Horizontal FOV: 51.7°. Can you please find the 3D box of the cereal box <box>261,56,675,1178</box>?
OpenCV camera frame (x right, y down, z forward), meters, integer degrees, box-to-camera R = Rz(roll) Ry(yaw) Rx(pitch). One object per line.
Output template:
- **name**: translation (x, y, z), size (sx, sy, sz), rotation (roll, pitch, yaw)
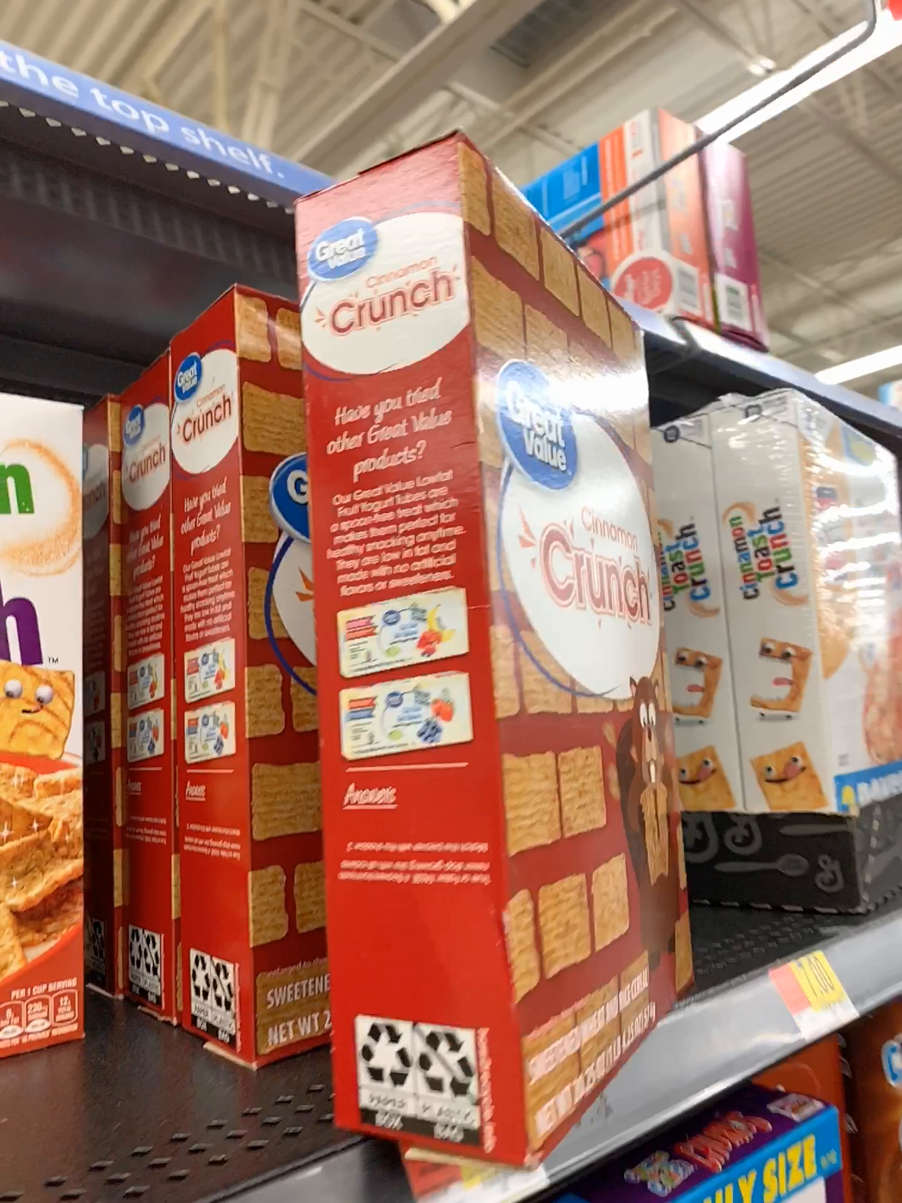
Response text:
- **cereal box**: translation (0.016, 0.003, 0.371), size (0.070, 0.331, 0.190), rotation (-8, -10, 25)
